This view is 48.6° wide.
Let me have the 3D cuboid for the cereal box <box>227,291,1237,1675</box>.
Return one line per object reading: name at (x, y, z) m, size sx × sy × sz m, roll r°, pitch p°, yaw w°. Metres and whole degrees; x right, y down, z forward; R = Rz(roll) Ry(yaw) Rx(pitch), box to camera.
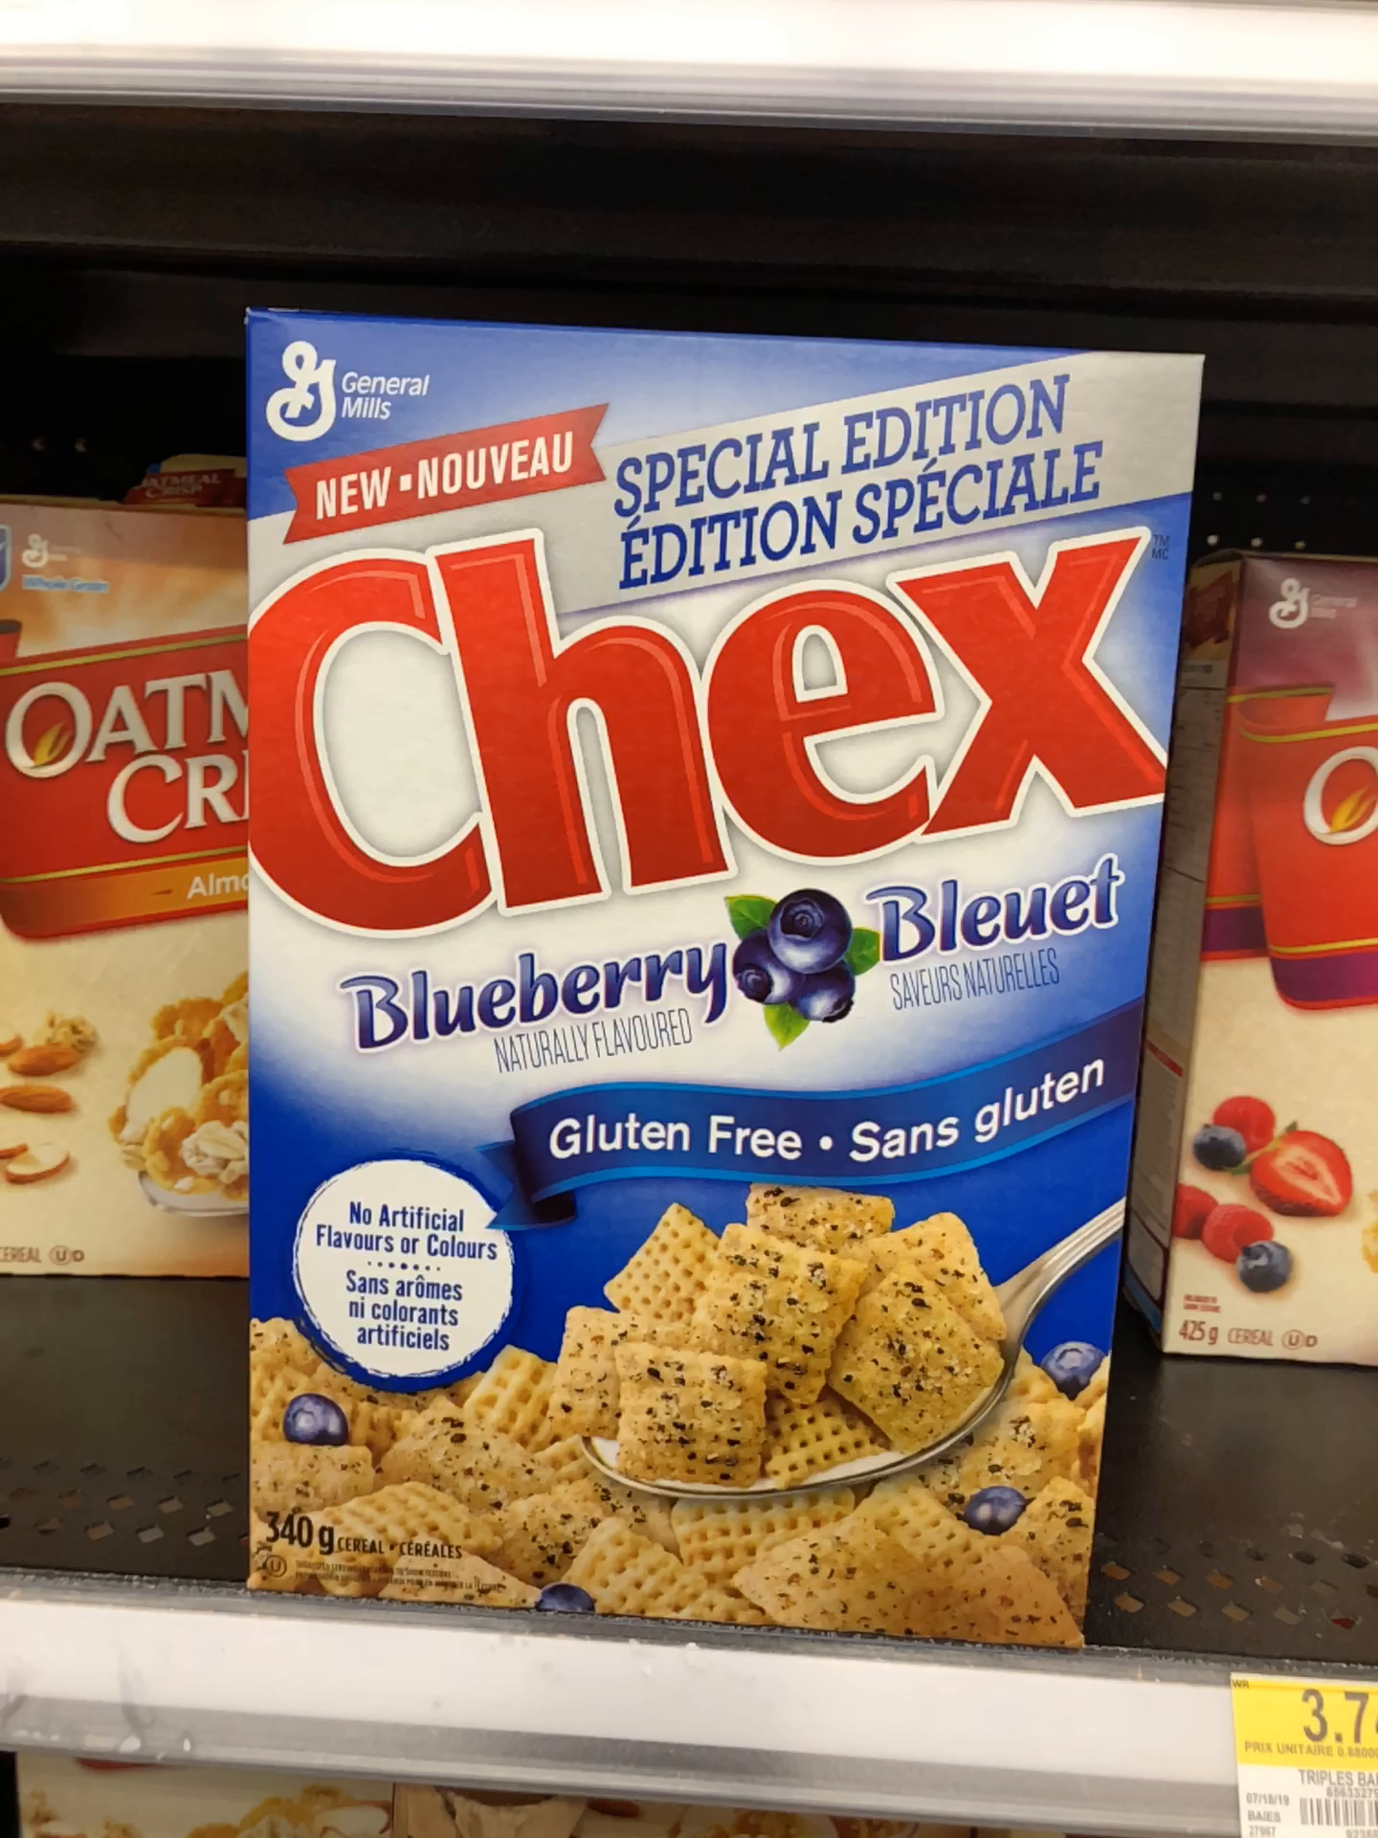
cereal box at (0.002, 0.017, 0.355) m, size 0.200 × 0.289 × 0.060 m, roll 3°, pitch 9°, yaw 3°
